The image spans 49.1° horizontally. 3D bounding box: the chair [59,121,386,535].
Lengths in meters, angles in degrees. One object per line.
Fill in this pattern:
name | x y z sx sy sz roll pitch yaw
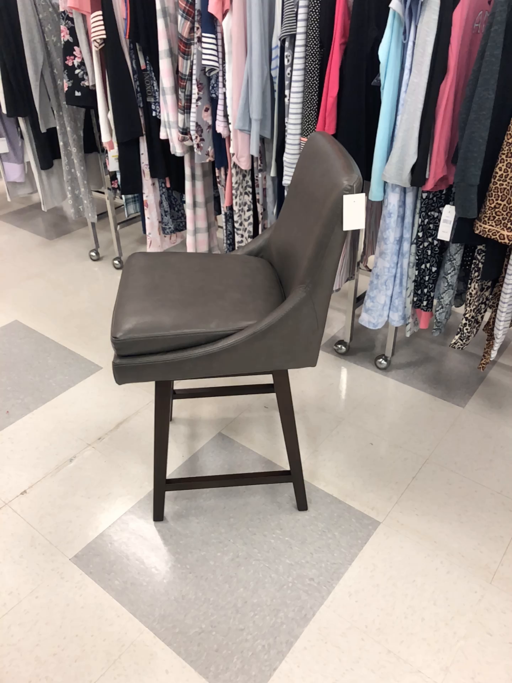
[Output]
chair | -0.063 -0.022 1.453 0.578 0.917 0.495 -3 34 -3
